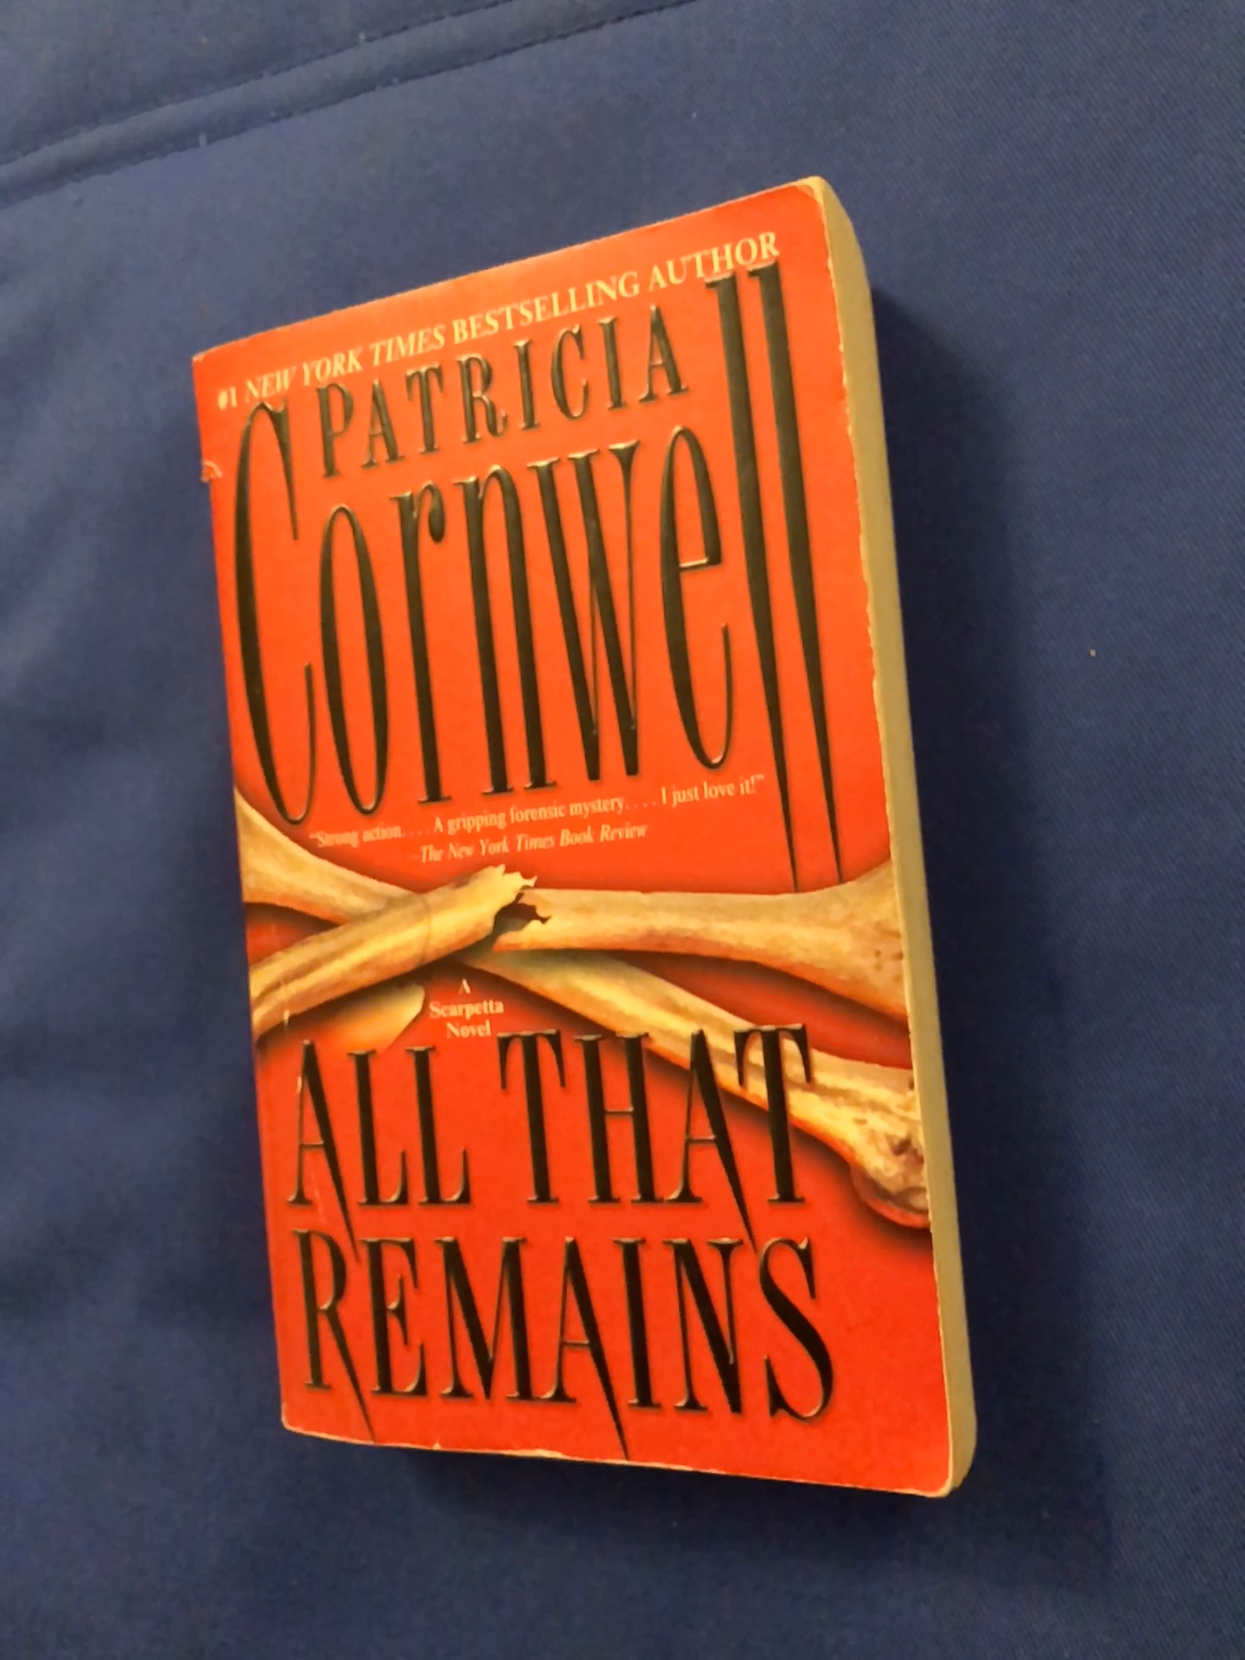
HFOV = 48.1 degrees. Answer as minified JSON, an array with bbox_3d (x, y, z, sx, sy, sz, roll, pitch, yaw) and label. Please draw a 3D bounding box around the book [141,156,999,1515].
[{"bbox_3d":[-0.011,0.004,0.204,0.110,0.030,0.166,-6,86,22],"label":"book"}]
